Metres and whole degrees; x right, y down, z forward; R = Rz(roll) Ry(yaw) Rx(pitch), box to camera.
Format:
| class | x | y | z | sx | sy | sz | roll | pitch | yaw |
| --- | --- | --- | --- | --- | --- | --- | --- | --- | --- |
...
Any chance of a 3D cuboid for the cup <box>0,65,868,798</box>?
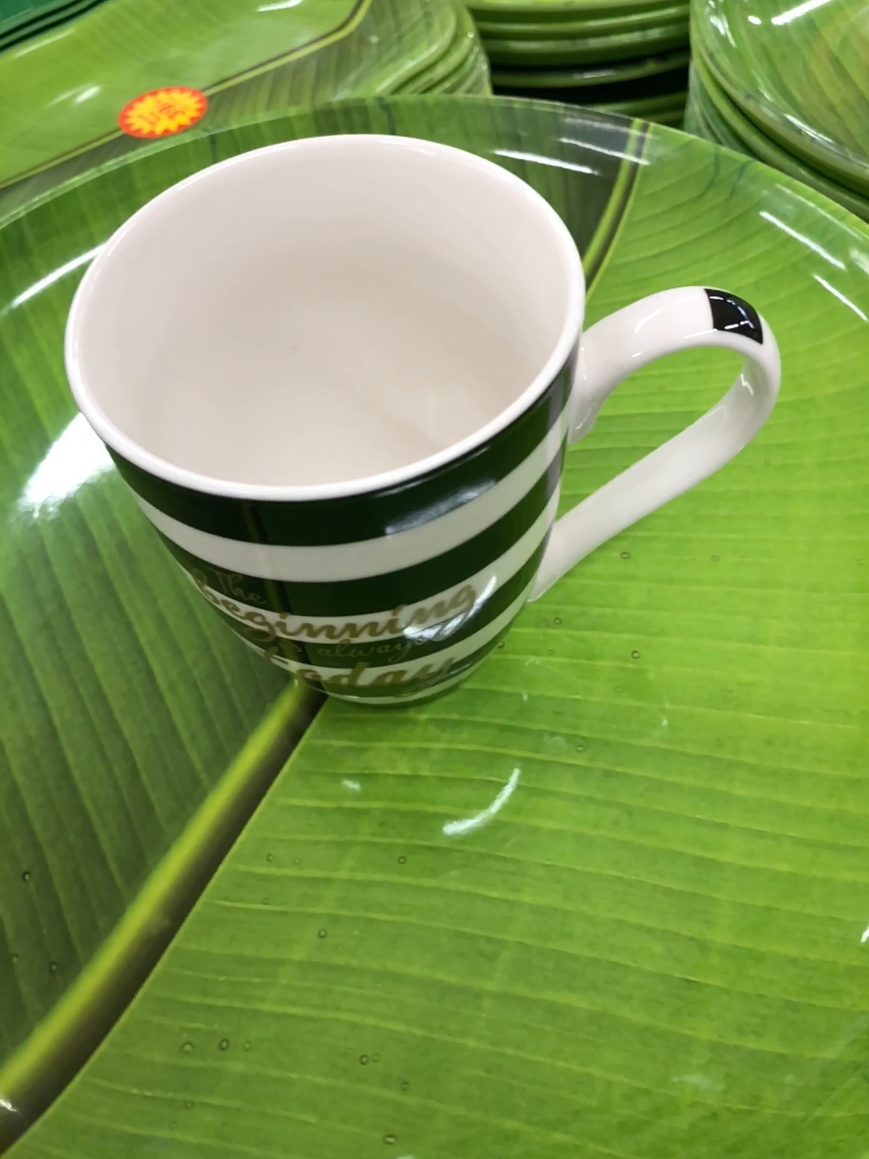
| class | x | y | z | sx | sy | sz | roll | pitch | yaw |
| --- | --- | --- | --- | --- | --- | --- | --- | --- | --- |
| cup | 0.010 | -0.023 | 0.175 | 0.130 | 0.080 | 0.080 | -8 | 55 | 1 |
